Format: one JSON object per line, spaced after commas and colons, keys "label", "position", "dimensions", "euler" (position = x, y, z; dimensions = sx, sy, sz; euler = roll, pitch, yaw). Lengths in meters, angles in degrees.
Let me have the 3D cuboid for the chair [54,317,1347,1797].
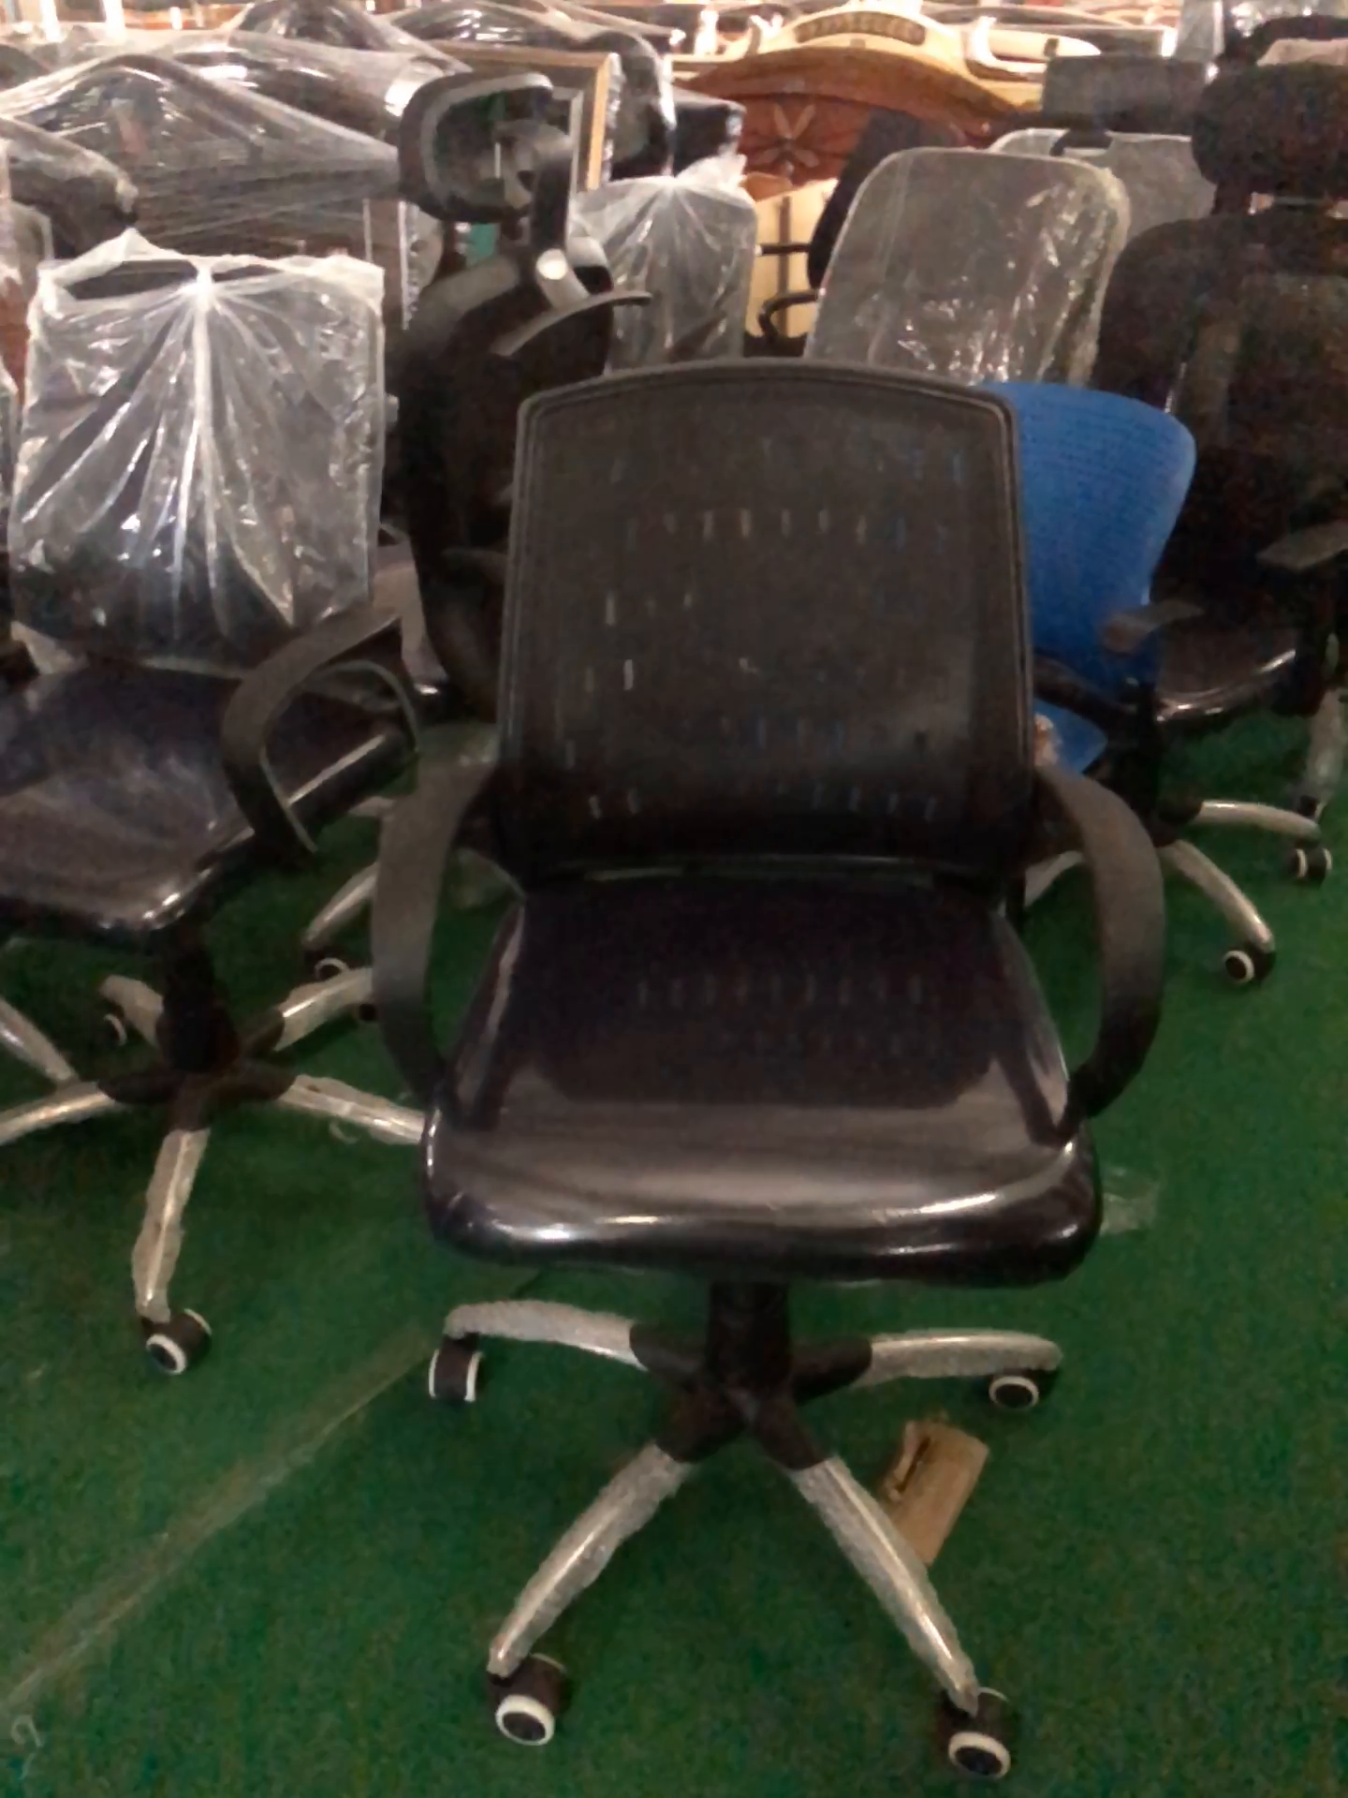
{"label": "chair", "position": [0.093, 0.090, 1.315], "dimensions": [0.730, 0.995, 0.875], "euler": [1, 31, 2]}
